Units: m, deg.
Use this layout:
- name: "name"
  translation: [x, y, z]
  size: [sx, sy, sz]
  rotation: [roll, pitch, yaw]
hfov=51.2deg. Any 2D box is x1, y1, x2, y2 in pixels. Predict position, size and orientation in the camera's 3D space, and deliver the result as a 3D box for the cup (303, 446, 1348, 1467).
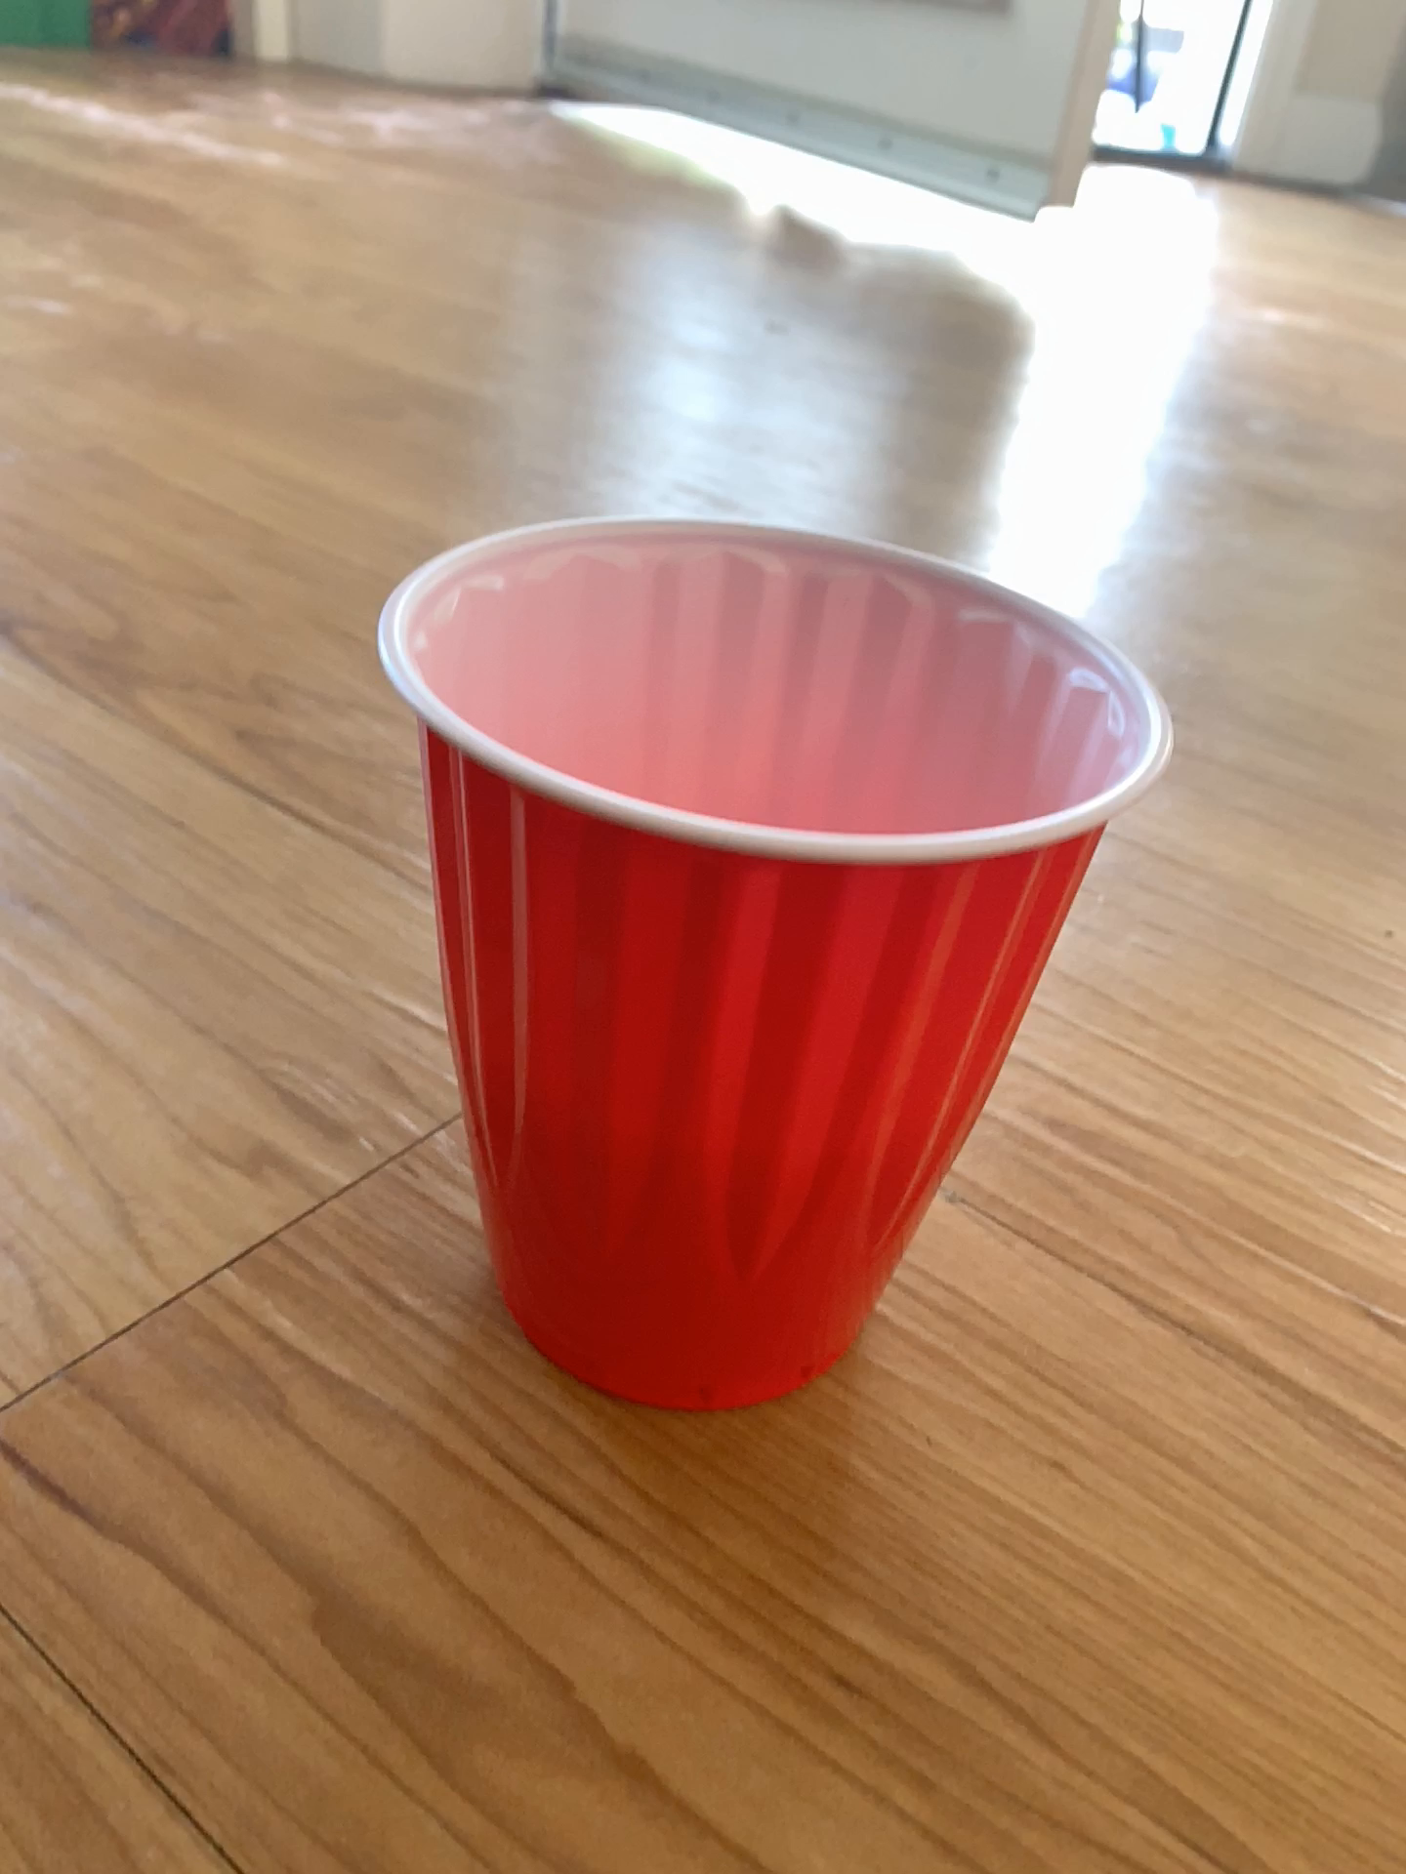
- name: "cup"
  translation: [0.001, -0.006, 0.202]
  size: [0.100, 0.090, 0.100]
  rotation: [5, 34, -4]
